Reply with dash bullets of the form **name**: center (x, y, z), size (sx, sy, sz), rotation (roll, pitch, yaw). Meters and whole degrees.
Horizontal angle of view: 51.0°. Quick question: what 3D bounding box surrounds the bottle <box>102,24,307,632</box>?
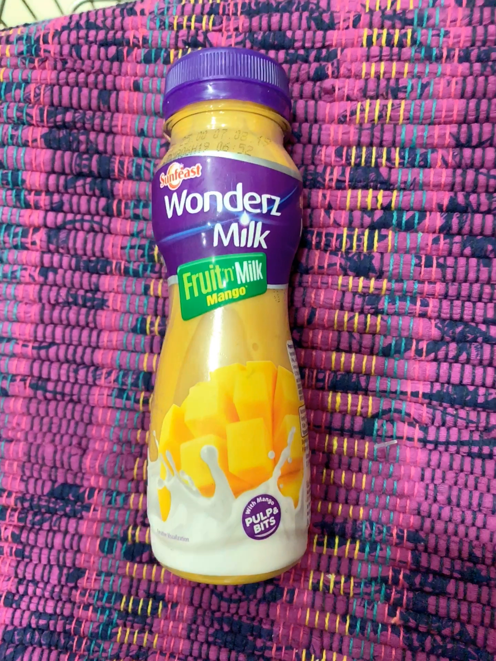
- **bottle**: center (-0.010, -0.002, 0.151), size (0.050, 0.040, 0.150), rotation (-1, 86, 8)
